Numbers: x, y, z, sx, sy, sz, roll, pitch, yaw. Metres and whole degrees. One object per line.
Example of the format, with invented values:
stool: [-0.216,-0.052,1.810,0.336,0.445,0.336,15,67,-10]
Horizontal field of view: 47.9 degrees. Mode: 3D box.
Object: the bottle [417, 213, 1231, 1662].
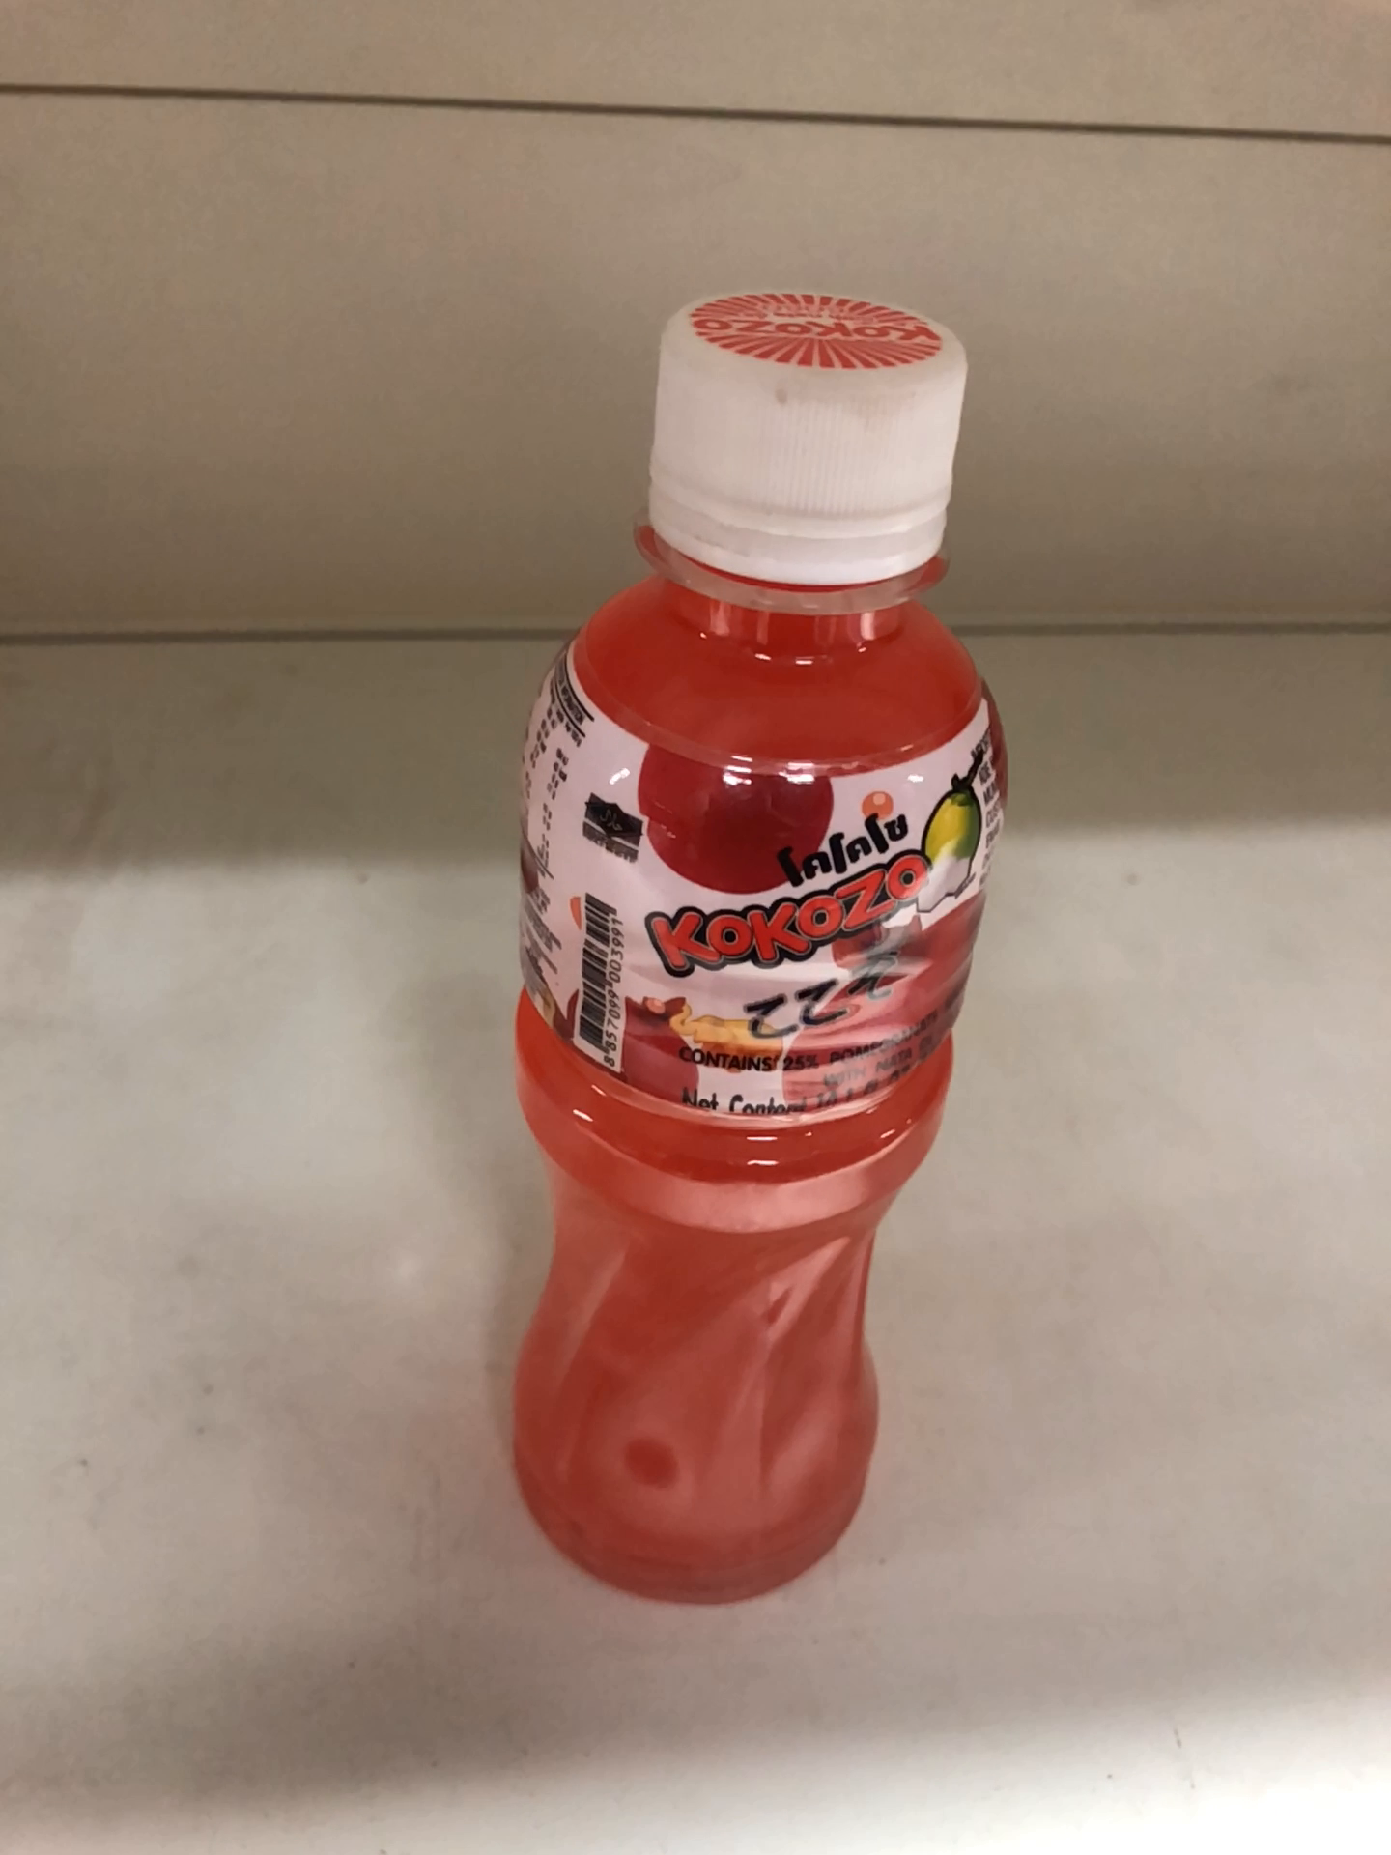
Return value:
bottle: [0.004,0.010,0.189,0.060,0.169,0.050,-7,36,-16]
